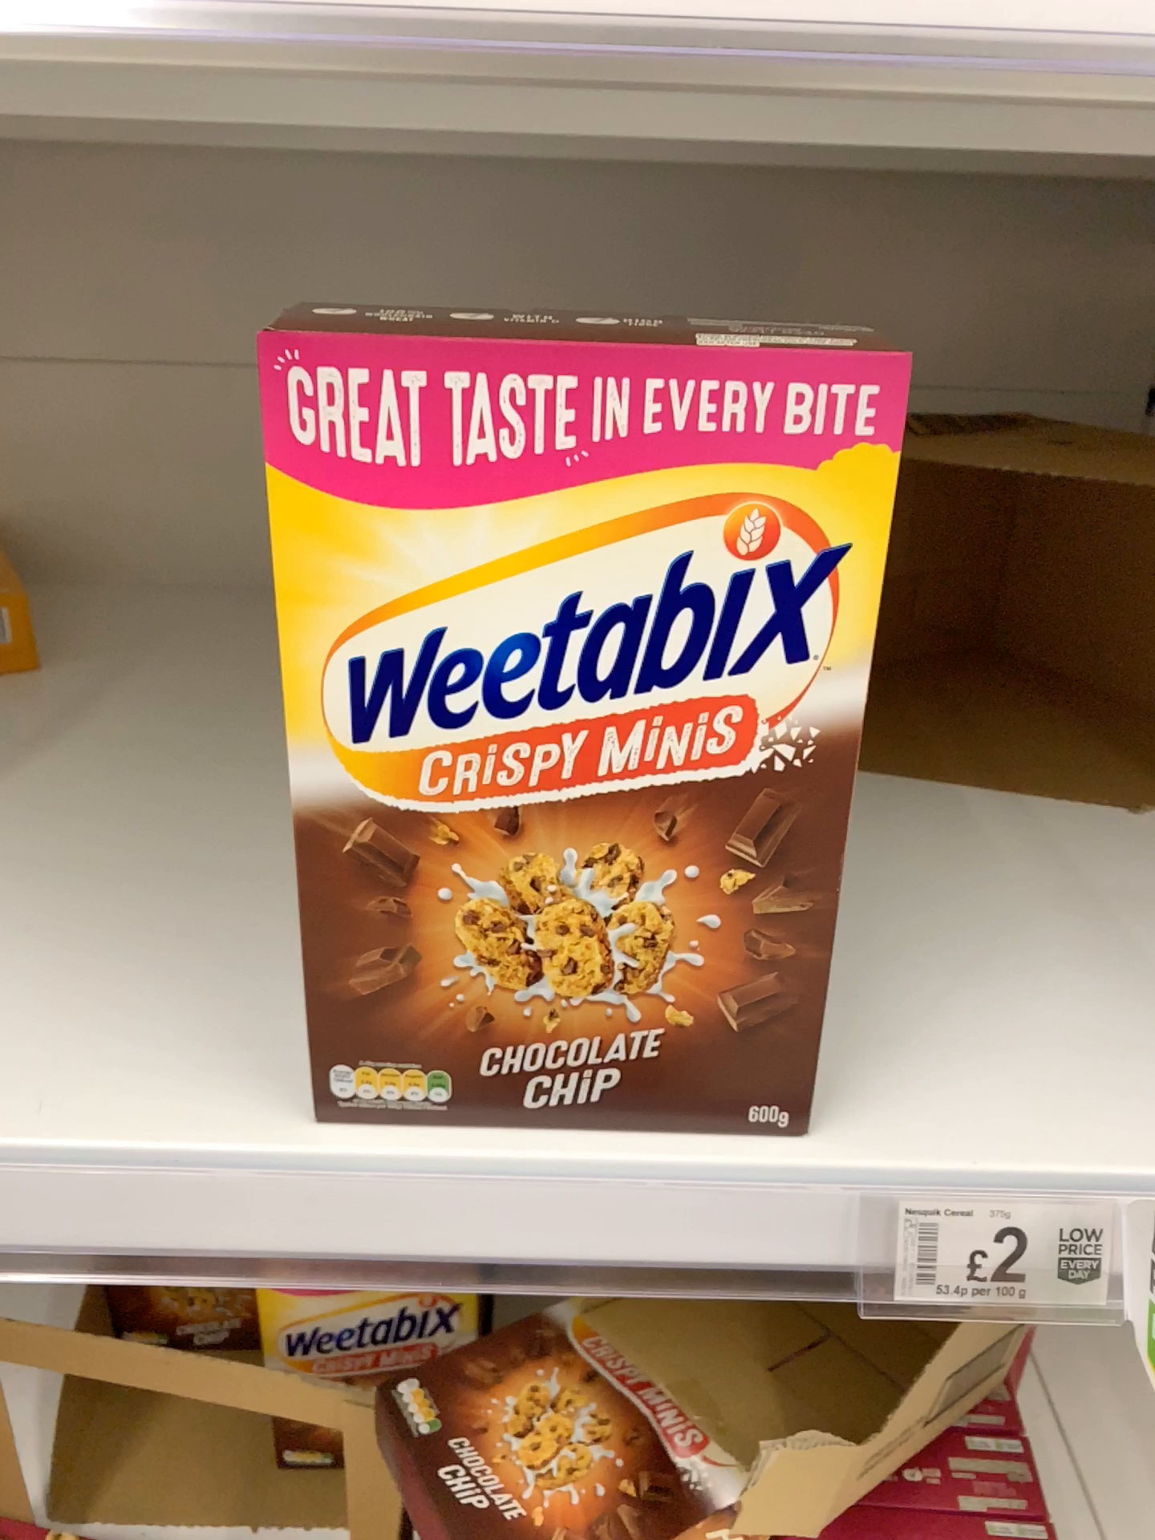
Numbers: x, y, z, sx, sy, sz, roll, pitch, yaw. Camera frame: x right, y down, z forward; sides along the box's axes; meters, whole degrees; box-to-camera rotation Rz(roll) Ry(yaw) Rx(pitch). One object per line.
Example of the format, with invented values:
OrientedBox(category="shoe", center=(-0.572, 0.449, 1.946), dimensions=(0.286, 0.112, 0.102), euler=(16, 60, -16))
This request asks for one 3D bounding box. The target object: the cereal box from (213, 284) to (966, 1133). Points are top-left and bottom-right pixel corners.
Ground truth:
OrientedBox(category="cereal box", center=(-0.001, -0.012, 0.423), dimensions=(0.210, 0.288, 0.071), euler=(2, 24, 0))
